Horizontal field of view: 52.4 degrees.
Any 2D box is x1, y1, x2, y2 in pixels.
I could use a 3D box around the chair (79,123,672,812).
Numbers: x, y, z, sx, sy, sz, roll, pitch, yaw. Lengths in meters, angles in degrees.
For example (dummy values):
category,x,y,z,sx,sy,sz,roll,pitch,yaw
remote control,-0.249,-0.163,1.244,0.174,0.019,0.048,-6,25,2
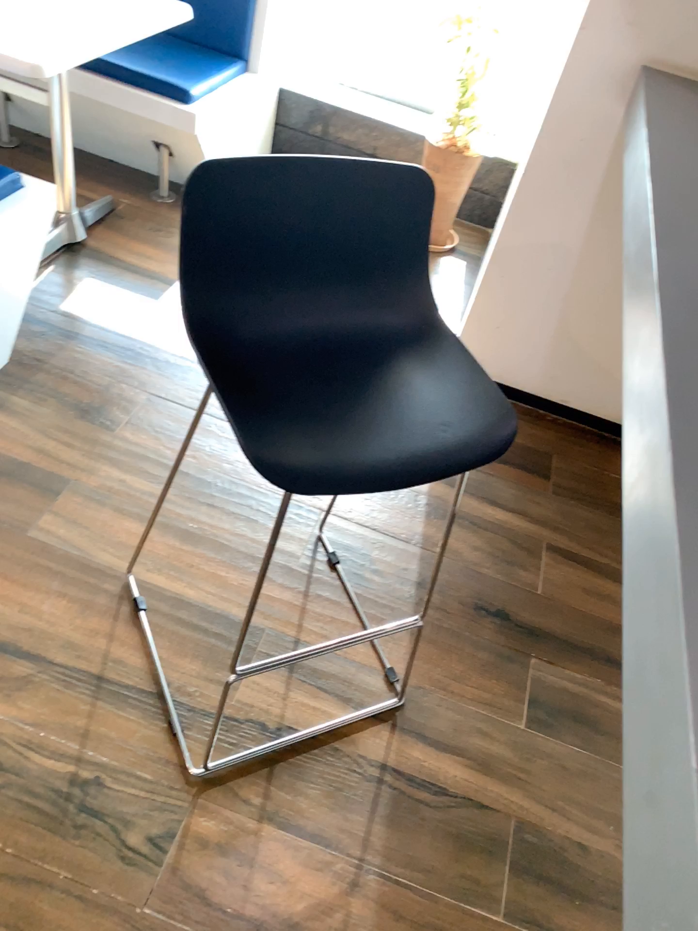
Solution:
category,x,y,z,sx,sy,sz,roll,pitch,yaw
chair,-0.080,0.015,1.167,0.541,0.863,0.593,-11,49,-26
